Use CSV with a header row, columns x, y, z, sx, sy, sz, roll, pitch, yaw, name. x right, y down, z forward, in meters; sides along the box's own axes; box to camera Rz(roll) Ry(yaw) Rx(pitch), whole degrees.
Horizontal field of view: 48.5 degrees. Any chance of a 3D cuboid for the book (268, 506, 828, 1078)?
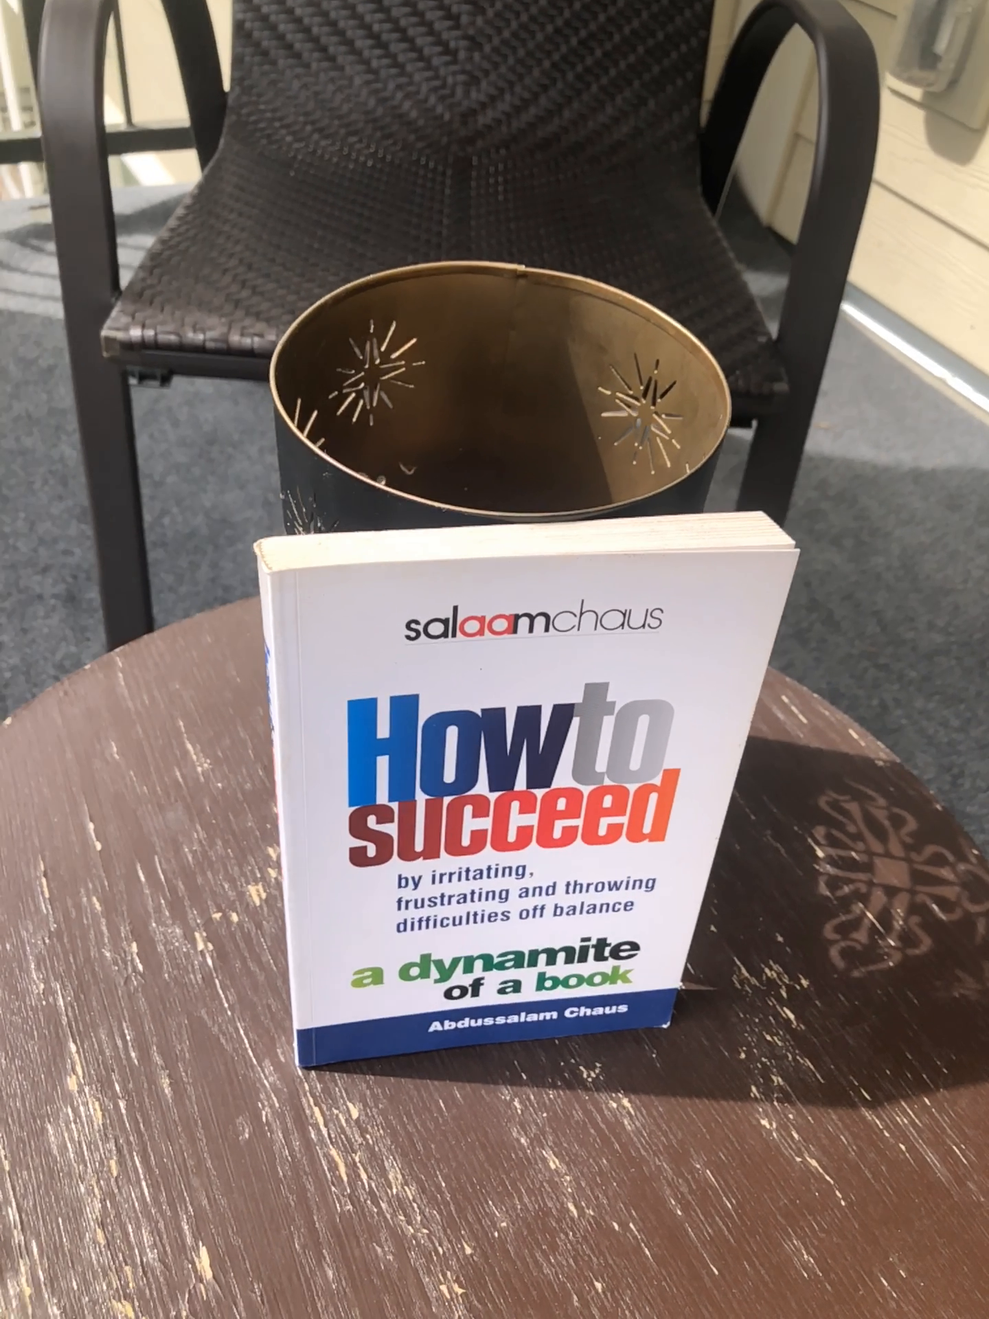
x,y,z,sx,sy,sz,roll,pitch,yaw,name
0.007,0.051,0.334,0.138,0.207,0.018,-3,38,-12,book
